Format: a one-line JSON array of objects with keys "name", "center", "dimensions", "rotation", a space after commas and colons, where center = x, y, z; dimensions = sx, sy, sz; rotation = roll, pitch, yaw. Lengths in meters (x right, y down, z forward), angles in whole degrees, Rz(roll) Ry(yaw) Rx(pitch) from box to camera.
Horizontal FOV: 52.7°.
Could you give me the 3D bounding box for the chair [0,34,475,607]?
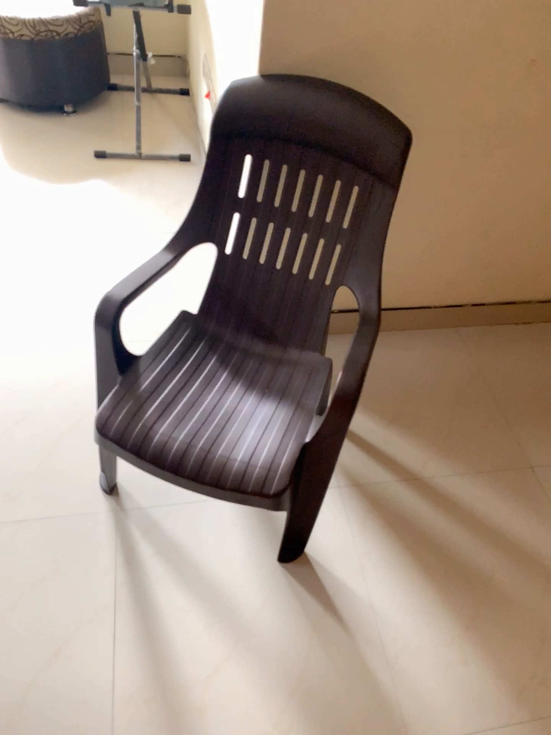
[{"name": "chair", "center": [-0.058, -0.056, 1.313], "dimensions": [0.601, 1.031, 0.665], "rotation": [20, 48, 10]}]
